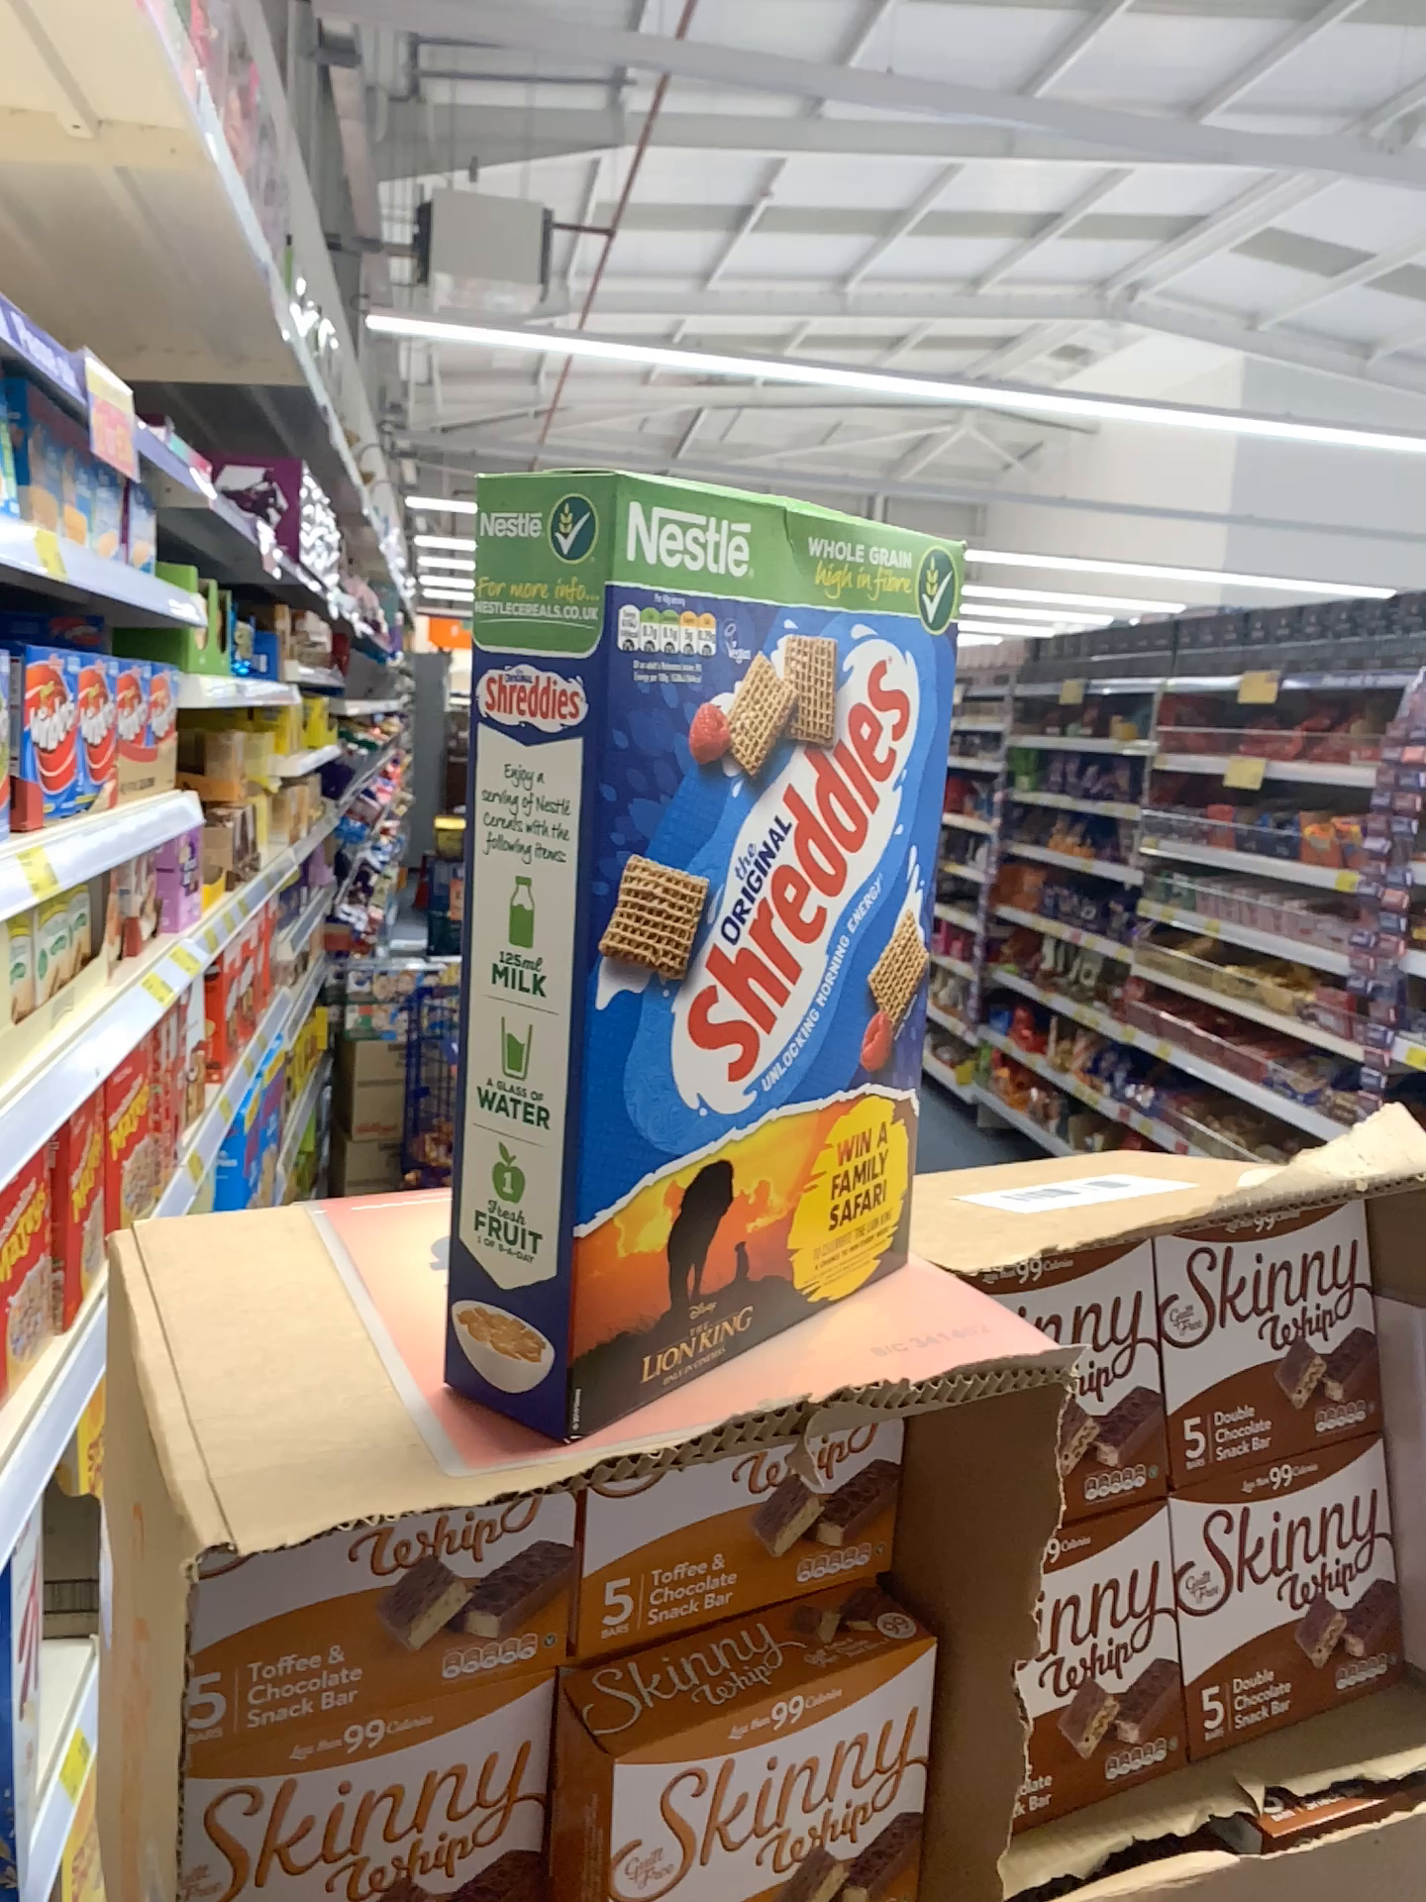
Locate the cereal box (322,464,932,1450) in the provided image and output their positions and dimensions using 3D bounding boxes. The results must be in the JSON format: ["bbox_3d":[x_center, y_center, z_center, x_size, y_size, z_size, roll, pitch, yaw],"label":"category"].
[{"bbox_3d":[-0.021,-0.009,0.495,0.070,0.269,0.210,11,13,38],"label":"cereal box"}]
